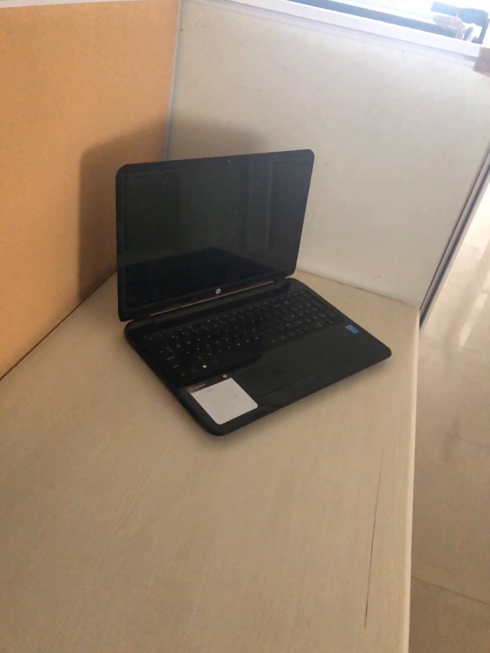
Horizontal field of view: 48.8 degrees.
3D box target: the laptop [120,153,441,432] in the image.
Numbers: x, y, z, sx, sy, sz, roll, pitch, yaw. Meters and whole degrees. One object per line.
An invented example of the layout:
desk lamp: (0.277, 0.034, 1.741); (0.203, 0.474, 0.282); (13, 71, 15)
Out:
laptop: (0.042, -0.080, 0.787); (0.351, 0.225, 0.266); (-18, 46, -37)
